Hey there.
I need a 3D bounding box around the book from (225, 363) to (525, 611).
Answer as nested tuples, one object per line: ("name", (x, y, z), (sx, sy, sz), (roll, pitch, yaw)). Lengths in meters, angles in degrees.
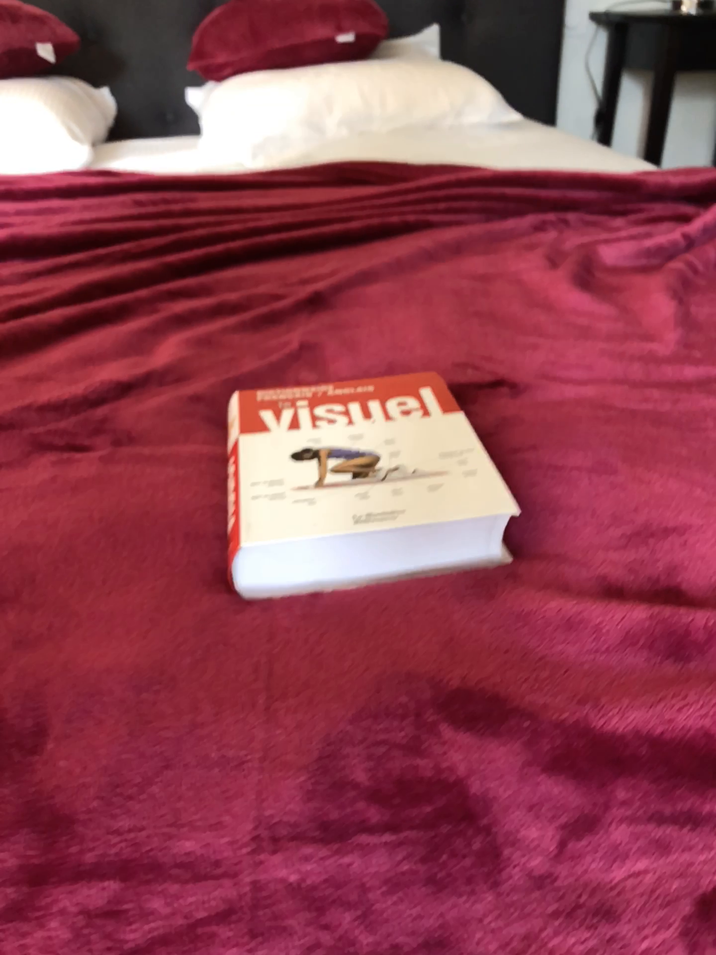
("book", (-0.003, -0.006, 0.453), (0.140, 0.039, 0.181), (-6, 31, -6))
